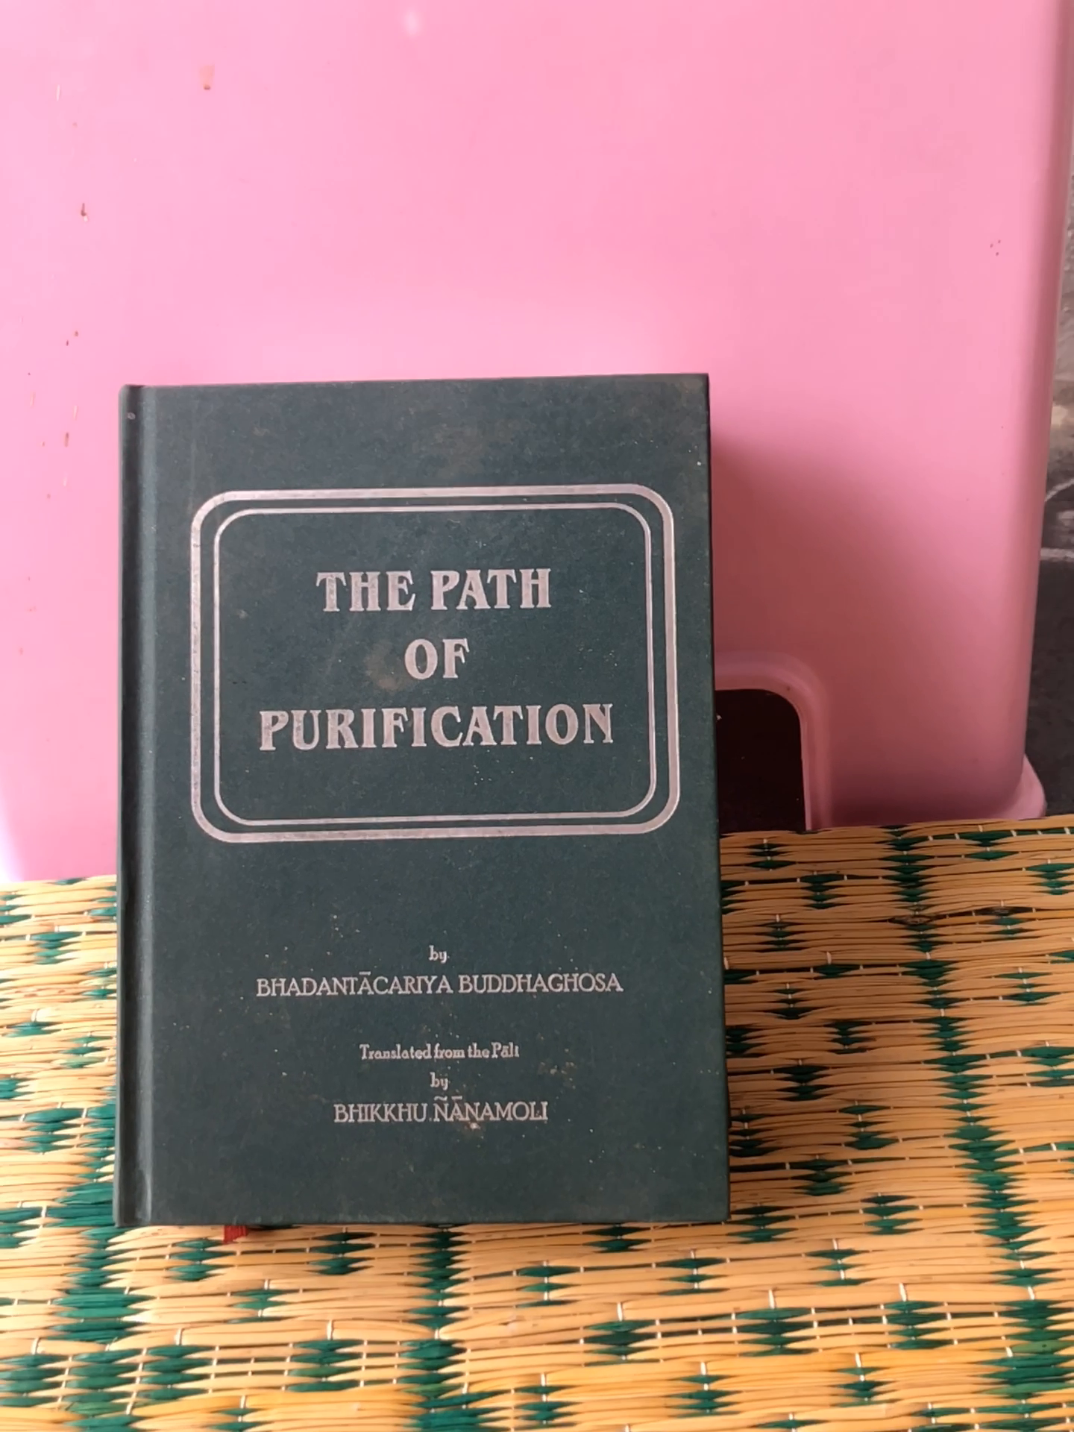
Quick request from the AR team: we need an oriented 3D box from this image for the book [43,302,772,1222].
[{"bbox_3d":[-0.028,0.012,0.316,0.160,0.080,0.210,-1,81,4],"label":"book"}]
